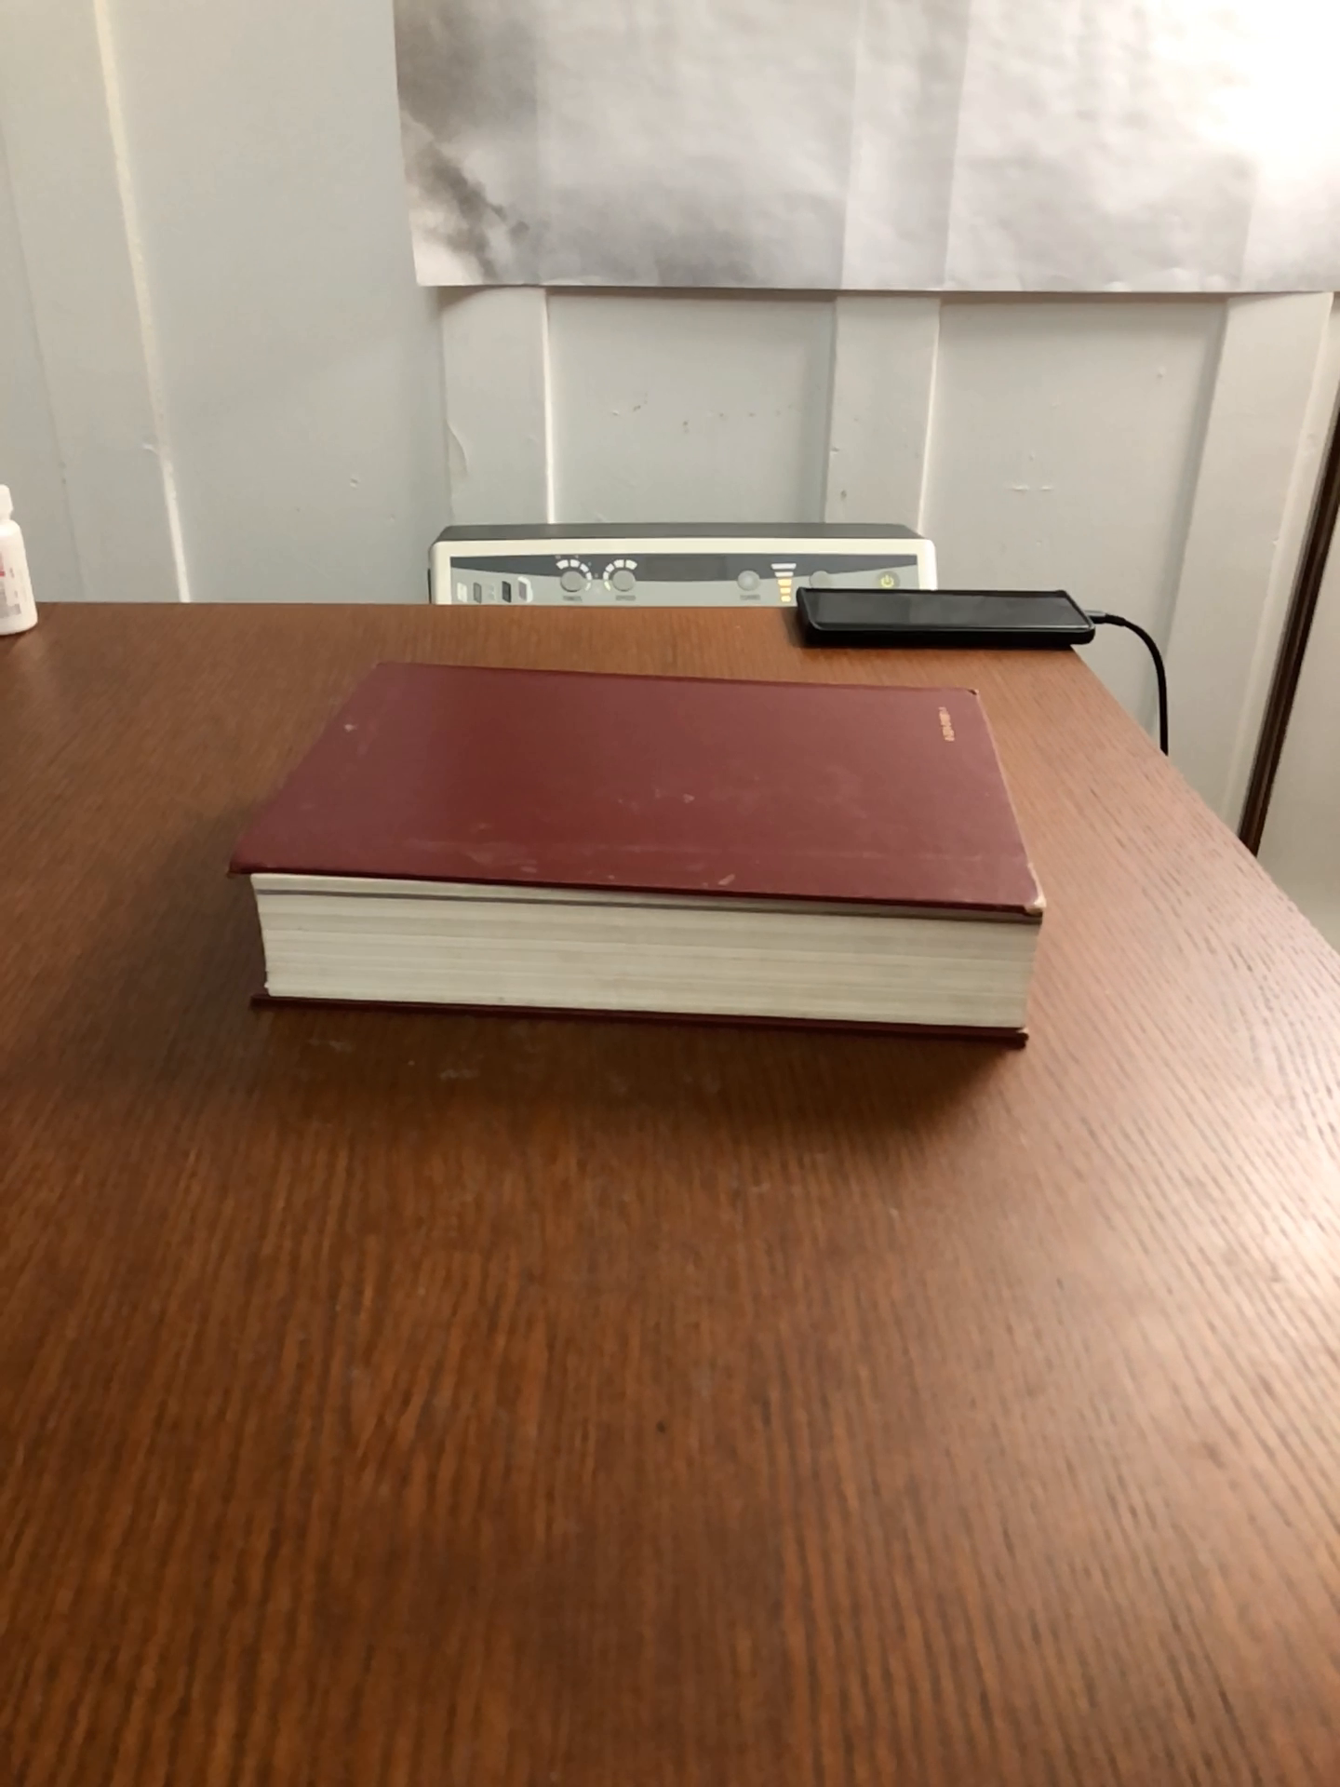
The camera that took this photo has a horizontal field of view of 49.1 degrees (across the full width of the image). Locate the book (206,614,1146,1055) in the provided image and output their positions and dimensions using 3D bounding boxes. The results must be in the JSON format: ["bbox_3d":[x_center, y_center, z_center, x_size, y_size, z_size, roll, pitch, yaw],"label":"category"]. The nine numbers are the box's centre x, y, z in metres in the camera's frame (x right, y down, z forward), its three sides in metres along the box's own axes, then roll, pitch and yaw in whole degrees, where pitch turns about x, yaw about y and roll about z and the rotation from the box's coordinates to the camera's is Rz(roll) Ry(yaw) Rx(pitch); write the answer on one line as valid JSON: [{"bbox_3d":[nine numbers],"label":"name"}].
[{"bbox_3d":[0.007,-0.036,0.565,0.290,0.070,0.221,3,28,3],"label":"book"}]
